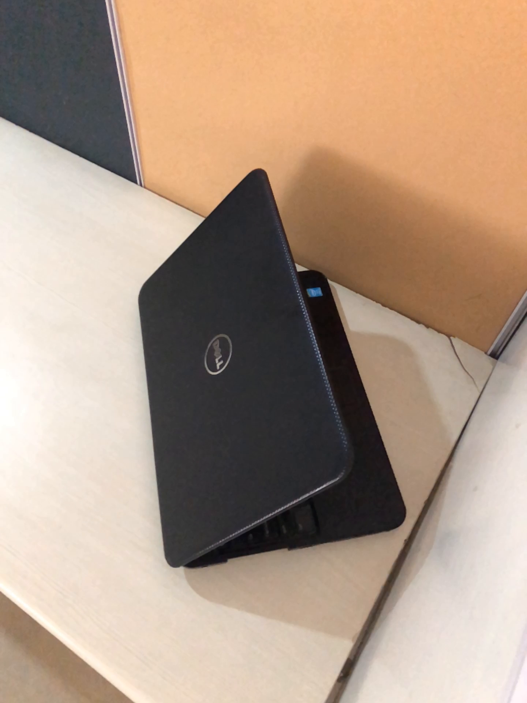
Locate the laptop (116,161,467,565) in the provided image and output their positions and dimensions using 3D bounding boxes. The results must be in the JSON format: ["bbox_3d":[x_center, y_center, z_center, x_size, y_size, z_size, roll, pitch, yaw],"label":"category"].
[{"bbox_3d":[0.002,-0.001,0.614,0.254,0.180,0.353,-8,59,-9],"label":"laptop"}]
